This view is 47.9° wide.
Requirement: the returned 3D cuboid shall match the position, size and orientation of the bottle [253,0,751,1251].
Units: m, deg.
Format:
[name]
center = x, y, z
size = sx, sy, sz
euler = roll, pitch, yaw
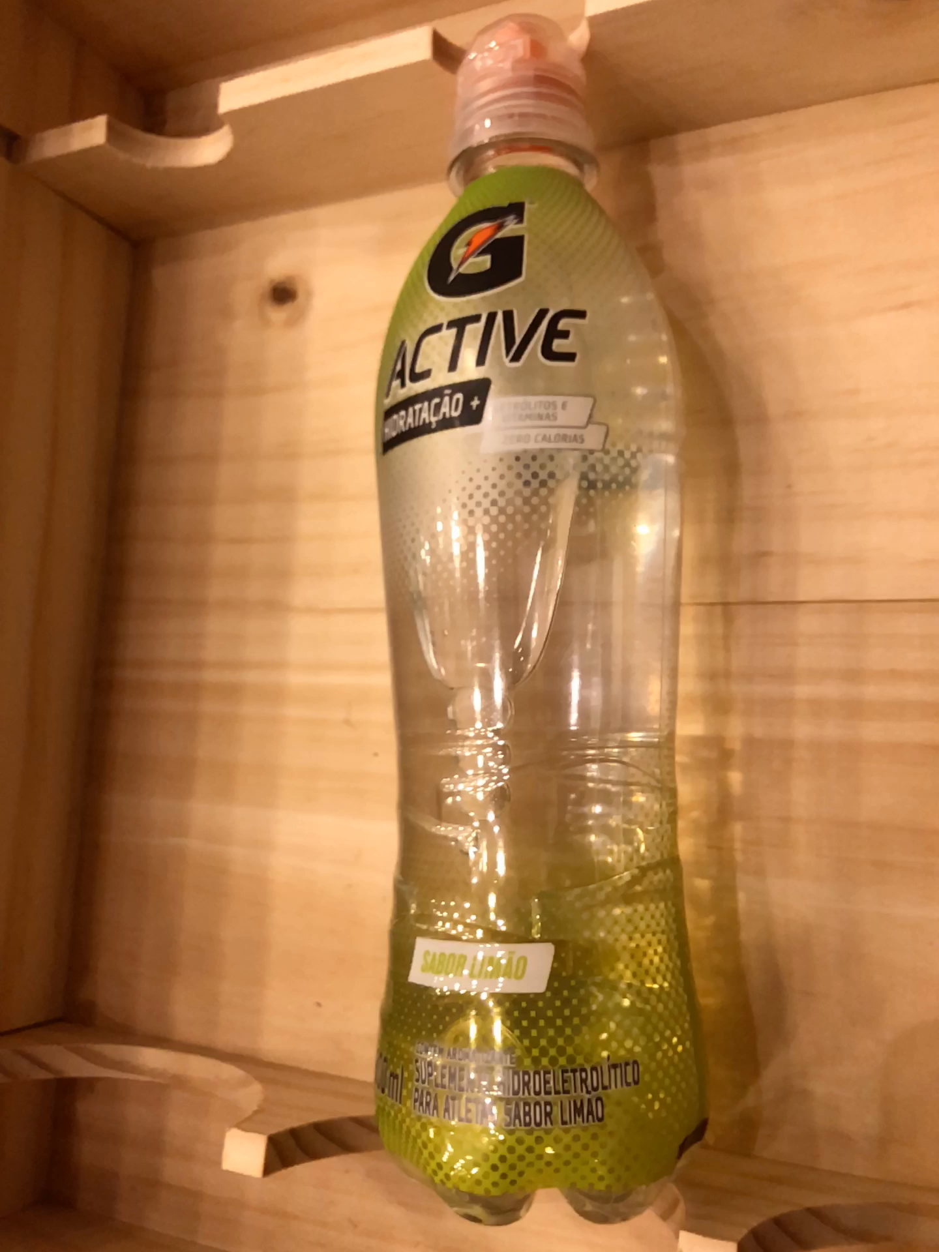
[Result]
[bottle]
center = 0.012, -0.023, 0.217
size = 0.070, 0.070, 0.270
euler = -4, 79, 23
